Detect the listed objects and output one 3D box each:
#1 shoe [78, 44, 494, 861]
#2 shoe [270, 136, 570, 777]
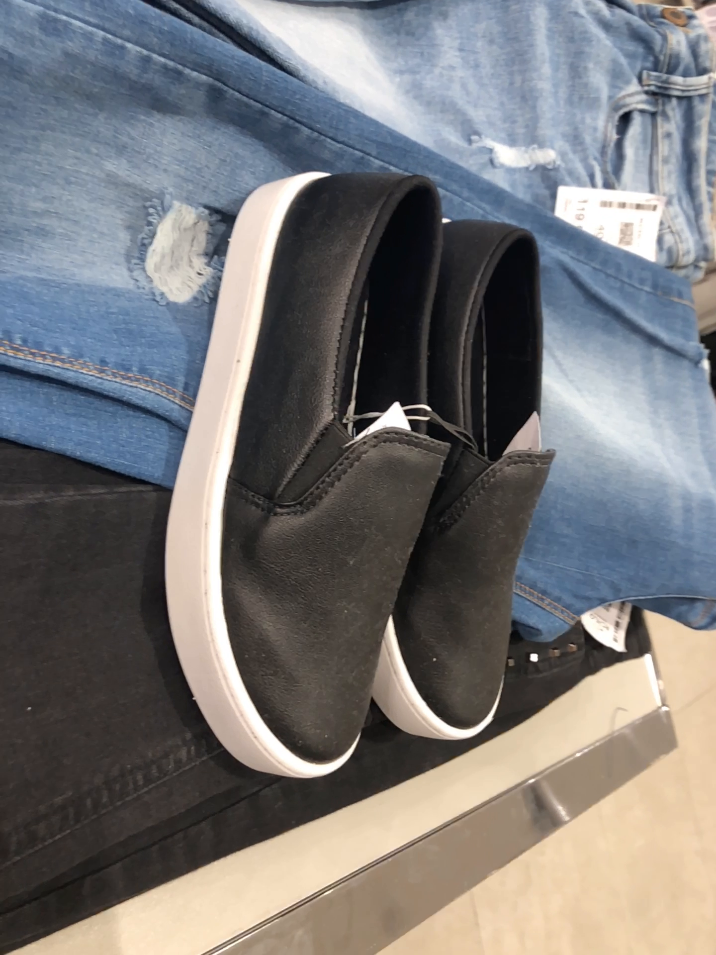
[{"bbox_3d":[-0.025,-0.007,0.325,0.111,0.099,0.260,9,83,-46],"label":"shoe"},{"bbox_3d":[0.033,-0.009,0.397,0.111,0.099,0.260,-1,91,-48],"label":"shoe"}]
